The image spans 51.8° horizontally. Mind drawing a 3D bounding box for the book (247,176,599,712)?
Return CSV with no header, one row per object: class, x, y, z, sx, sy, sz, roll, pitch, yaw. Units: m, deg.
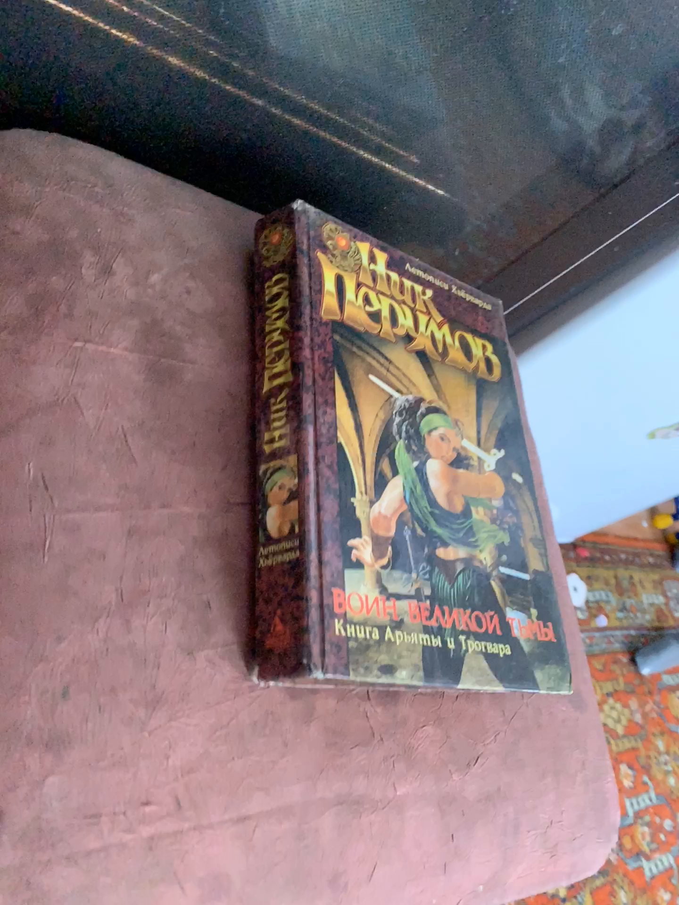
book,0.032,-0.002,0.300,0.140,0.037,0.206,17,57,-34
